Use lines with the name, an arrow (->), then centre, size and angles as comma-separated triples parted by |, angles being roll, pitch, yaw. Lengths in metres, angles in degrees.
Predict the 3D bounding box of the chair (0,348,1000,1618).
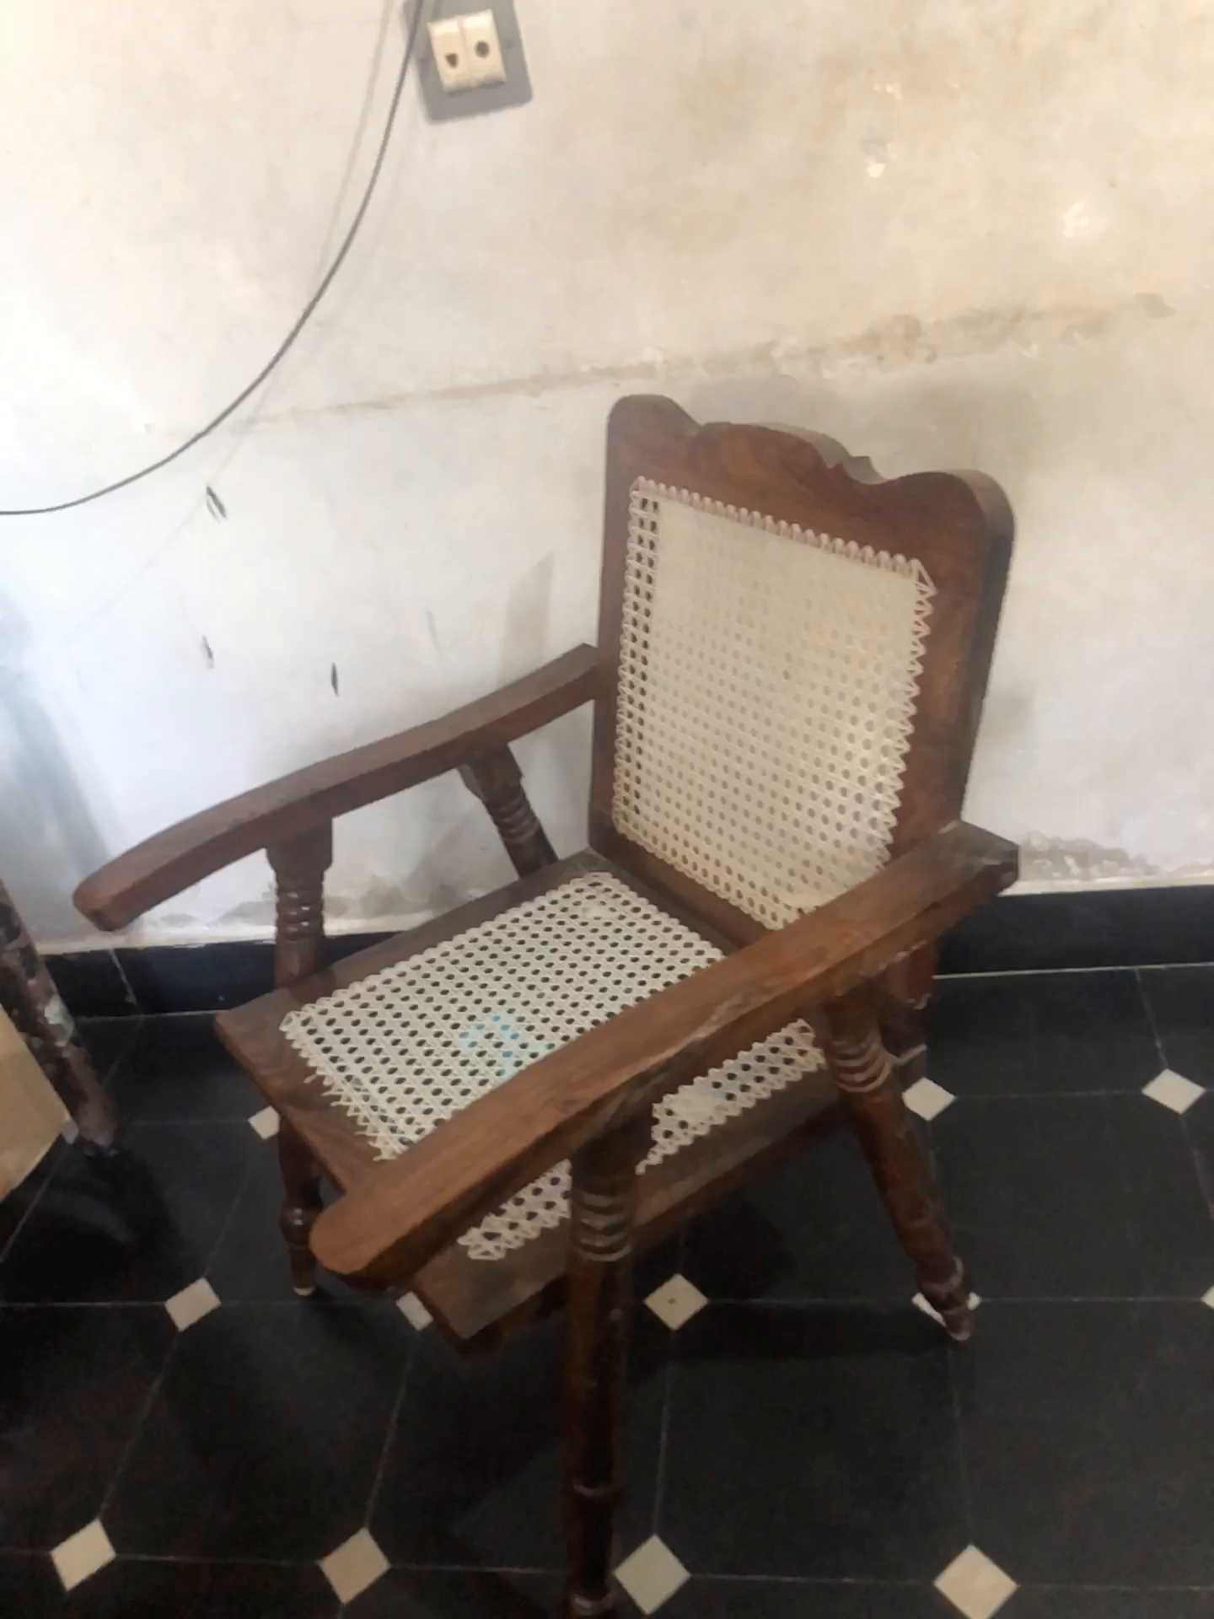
chair -> -0.092, 0.127, 1.122 | 0.562, 0.796, 0.581 | -31, 37, -26
